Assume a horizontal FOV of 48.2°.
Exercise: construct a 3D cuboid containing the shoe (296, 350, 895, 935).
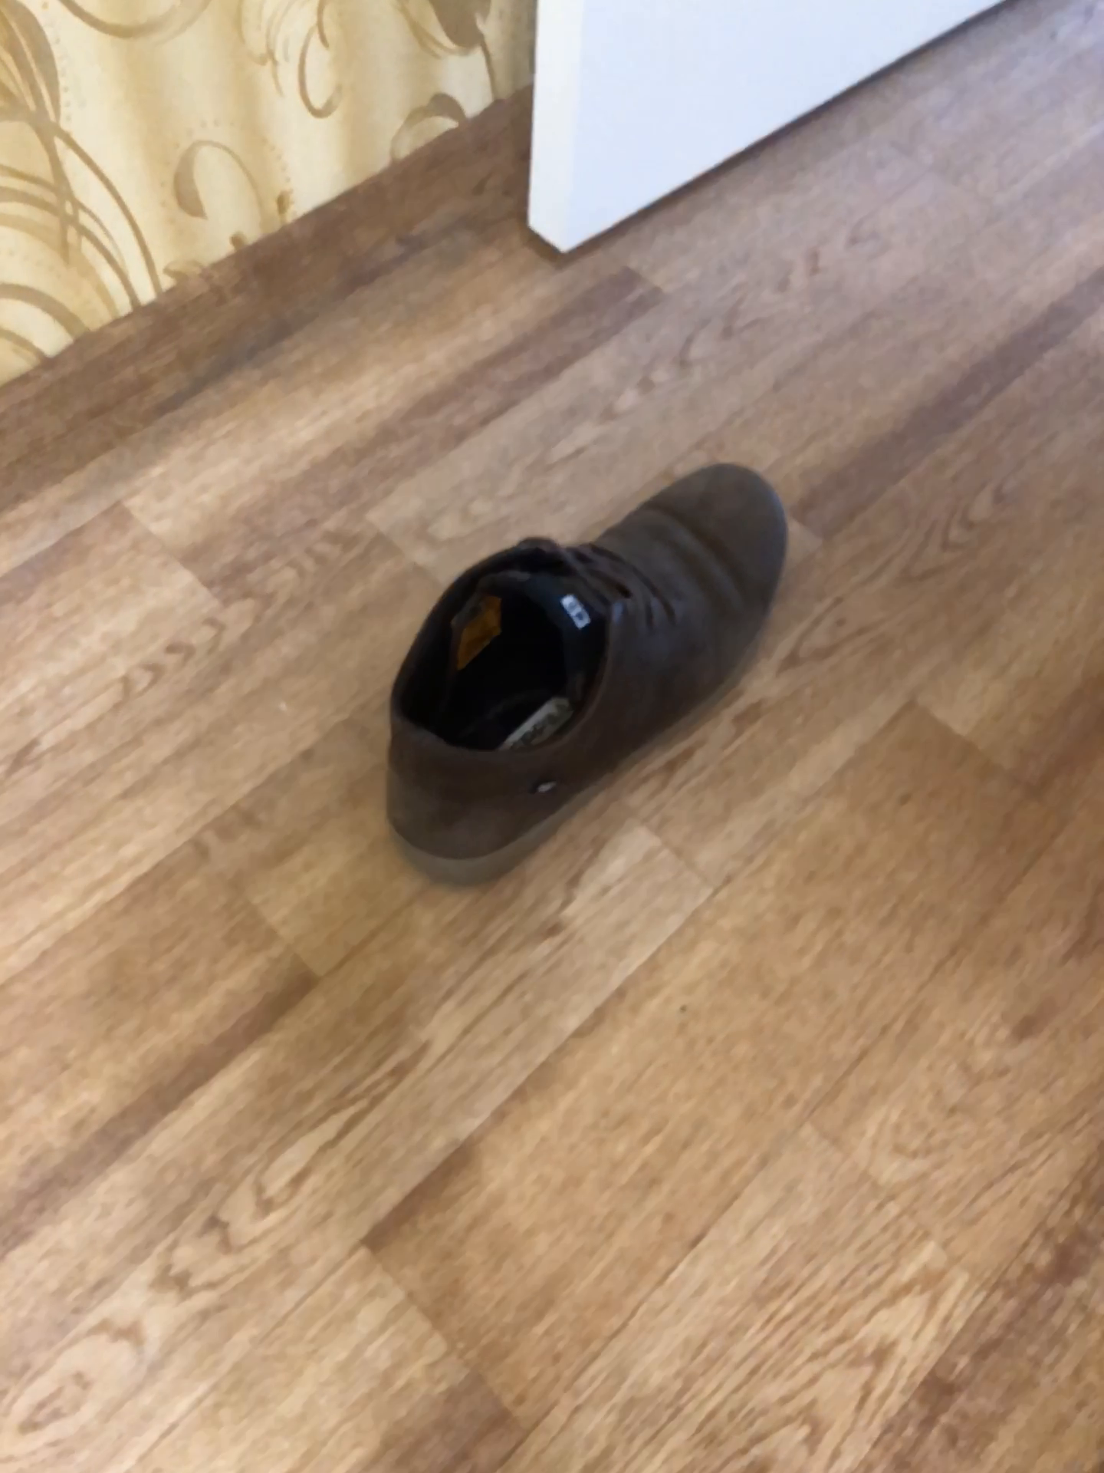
[{"bbox_3d":[0.025,-0.049,0.573,0.100,0.100,0.270,41,66,18],"label":"shoe"}]
